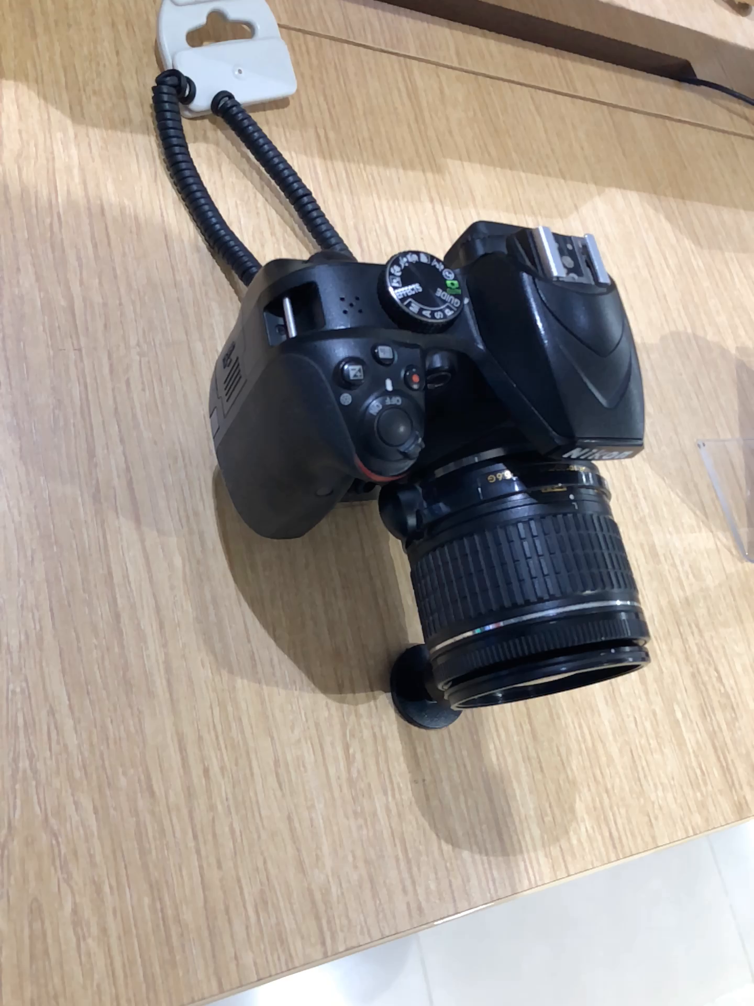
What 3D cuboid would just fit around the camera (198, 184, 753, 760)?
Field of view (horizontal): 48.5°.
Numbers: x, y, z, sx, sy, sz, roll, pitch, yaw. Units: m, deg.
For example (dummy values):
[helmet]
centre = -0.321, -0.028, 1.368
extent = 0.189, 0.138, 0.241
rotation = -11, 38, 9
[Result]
[camera]
centre = 0.033, -0.005, 0.241
extent = 0.133, 0.084, 0.120
rotation = -2, 69, -28
